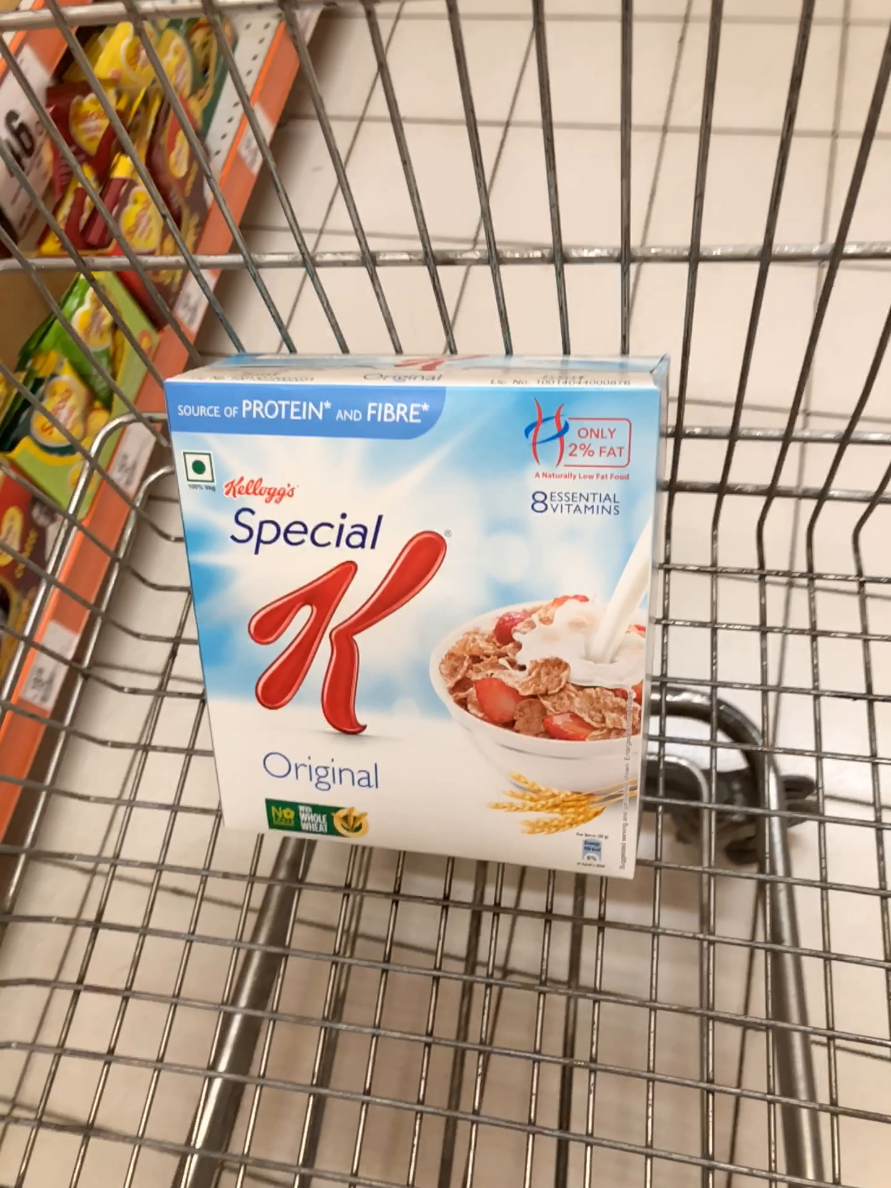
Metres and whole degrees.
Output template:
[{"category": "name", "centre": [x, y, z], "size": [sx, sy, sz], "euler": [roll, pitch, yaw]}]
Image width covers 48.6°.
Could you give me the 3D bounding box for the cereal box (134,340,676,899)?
[{"category": "cereal box", "centre": [-0.009, 0.008, 0.409], "size": [0.190, 0.209, 0.070], "euler": [3, 24, 11]}]
